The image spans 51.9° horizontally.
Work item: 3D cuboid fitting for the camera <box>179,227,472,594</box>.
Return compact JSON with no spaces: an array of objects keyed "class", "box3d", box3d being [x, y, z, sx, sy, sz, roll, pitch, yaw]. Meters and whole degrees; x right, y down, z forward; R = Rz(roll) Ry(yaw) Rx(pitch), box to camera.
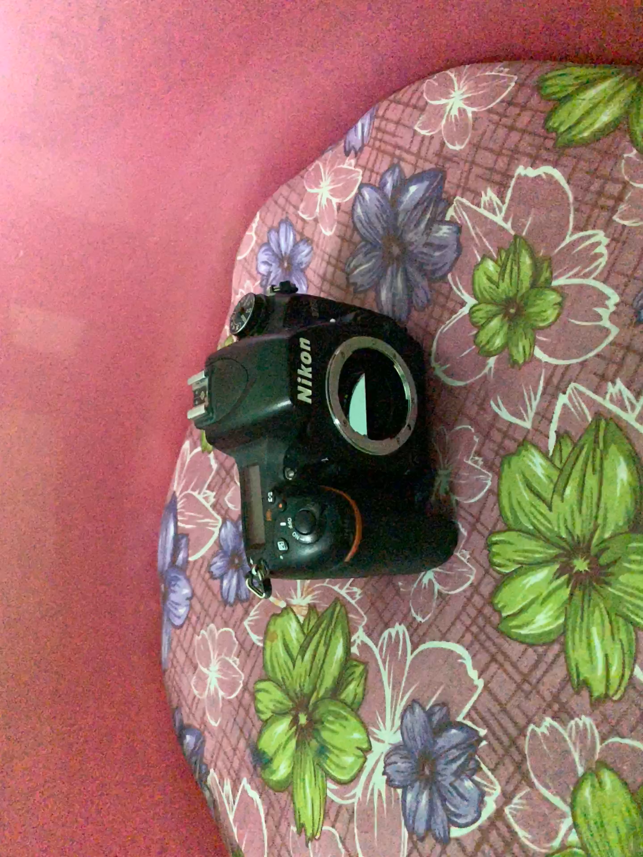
[{"class":"camera","box3d":[-0.001,0.001,0.310,0.093,0.089,0.140,-13,76,43]}]
